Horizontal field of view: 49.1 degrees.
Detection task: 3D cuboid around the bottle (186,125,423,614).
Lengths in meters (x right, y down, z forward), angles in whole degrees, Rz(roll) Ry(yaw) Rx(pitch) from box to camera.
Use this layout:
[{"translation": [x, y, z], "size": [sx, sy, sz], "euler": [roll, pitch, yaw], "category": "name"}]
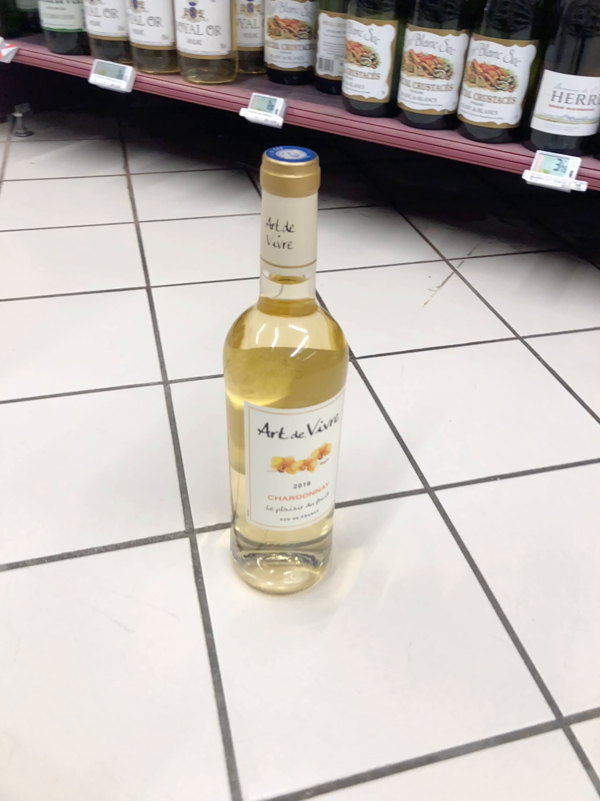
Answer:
[{"translation": [-0.007, -0.004, 0.405], "size": [0.090, 0.288, 0.090], "euler": [2, 38, -1], "category": "bottle"}]
